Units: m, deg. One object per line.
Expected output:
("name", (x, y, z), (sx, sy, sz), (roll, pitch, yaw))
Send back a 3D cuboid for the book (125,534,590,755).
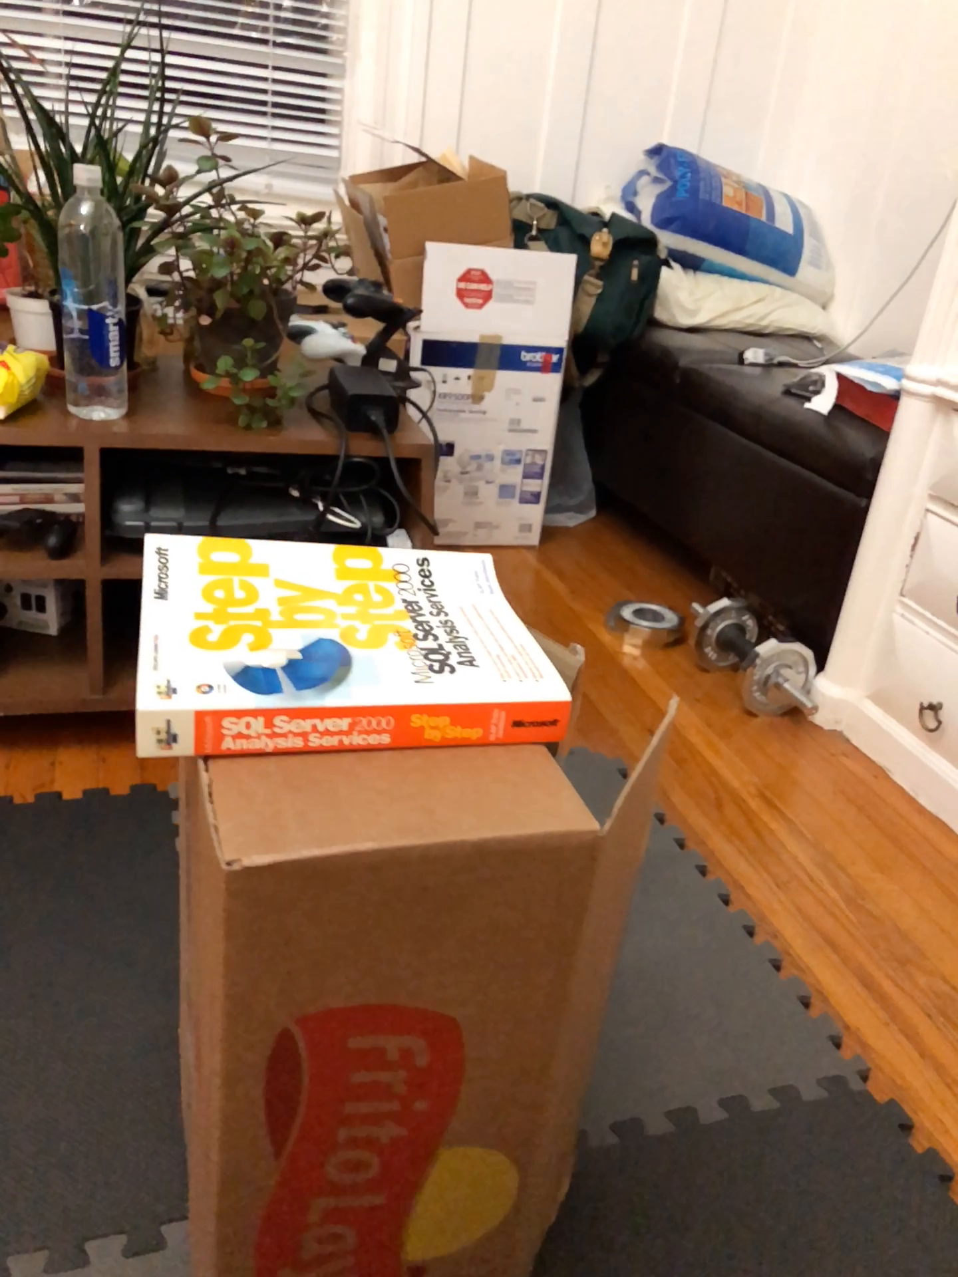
("book", (-0.086, -0.005, 0.640), (0.240, 0.050, 0.201), (0, 23, -20))
